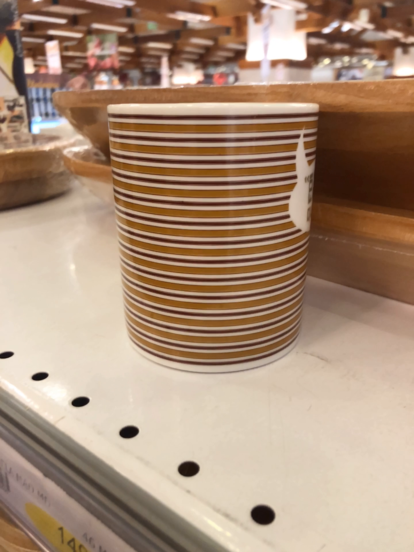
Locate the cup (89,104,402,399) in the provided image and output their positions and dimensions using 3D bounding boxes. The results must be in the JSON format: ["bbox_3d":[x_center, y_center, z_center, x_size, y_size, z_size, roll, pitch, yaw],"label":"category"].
[{"bbox_3d":[0.002,-0.027,0.203,0.090,0.089,0.121,-6,21,-15],"label":"cup"}]
